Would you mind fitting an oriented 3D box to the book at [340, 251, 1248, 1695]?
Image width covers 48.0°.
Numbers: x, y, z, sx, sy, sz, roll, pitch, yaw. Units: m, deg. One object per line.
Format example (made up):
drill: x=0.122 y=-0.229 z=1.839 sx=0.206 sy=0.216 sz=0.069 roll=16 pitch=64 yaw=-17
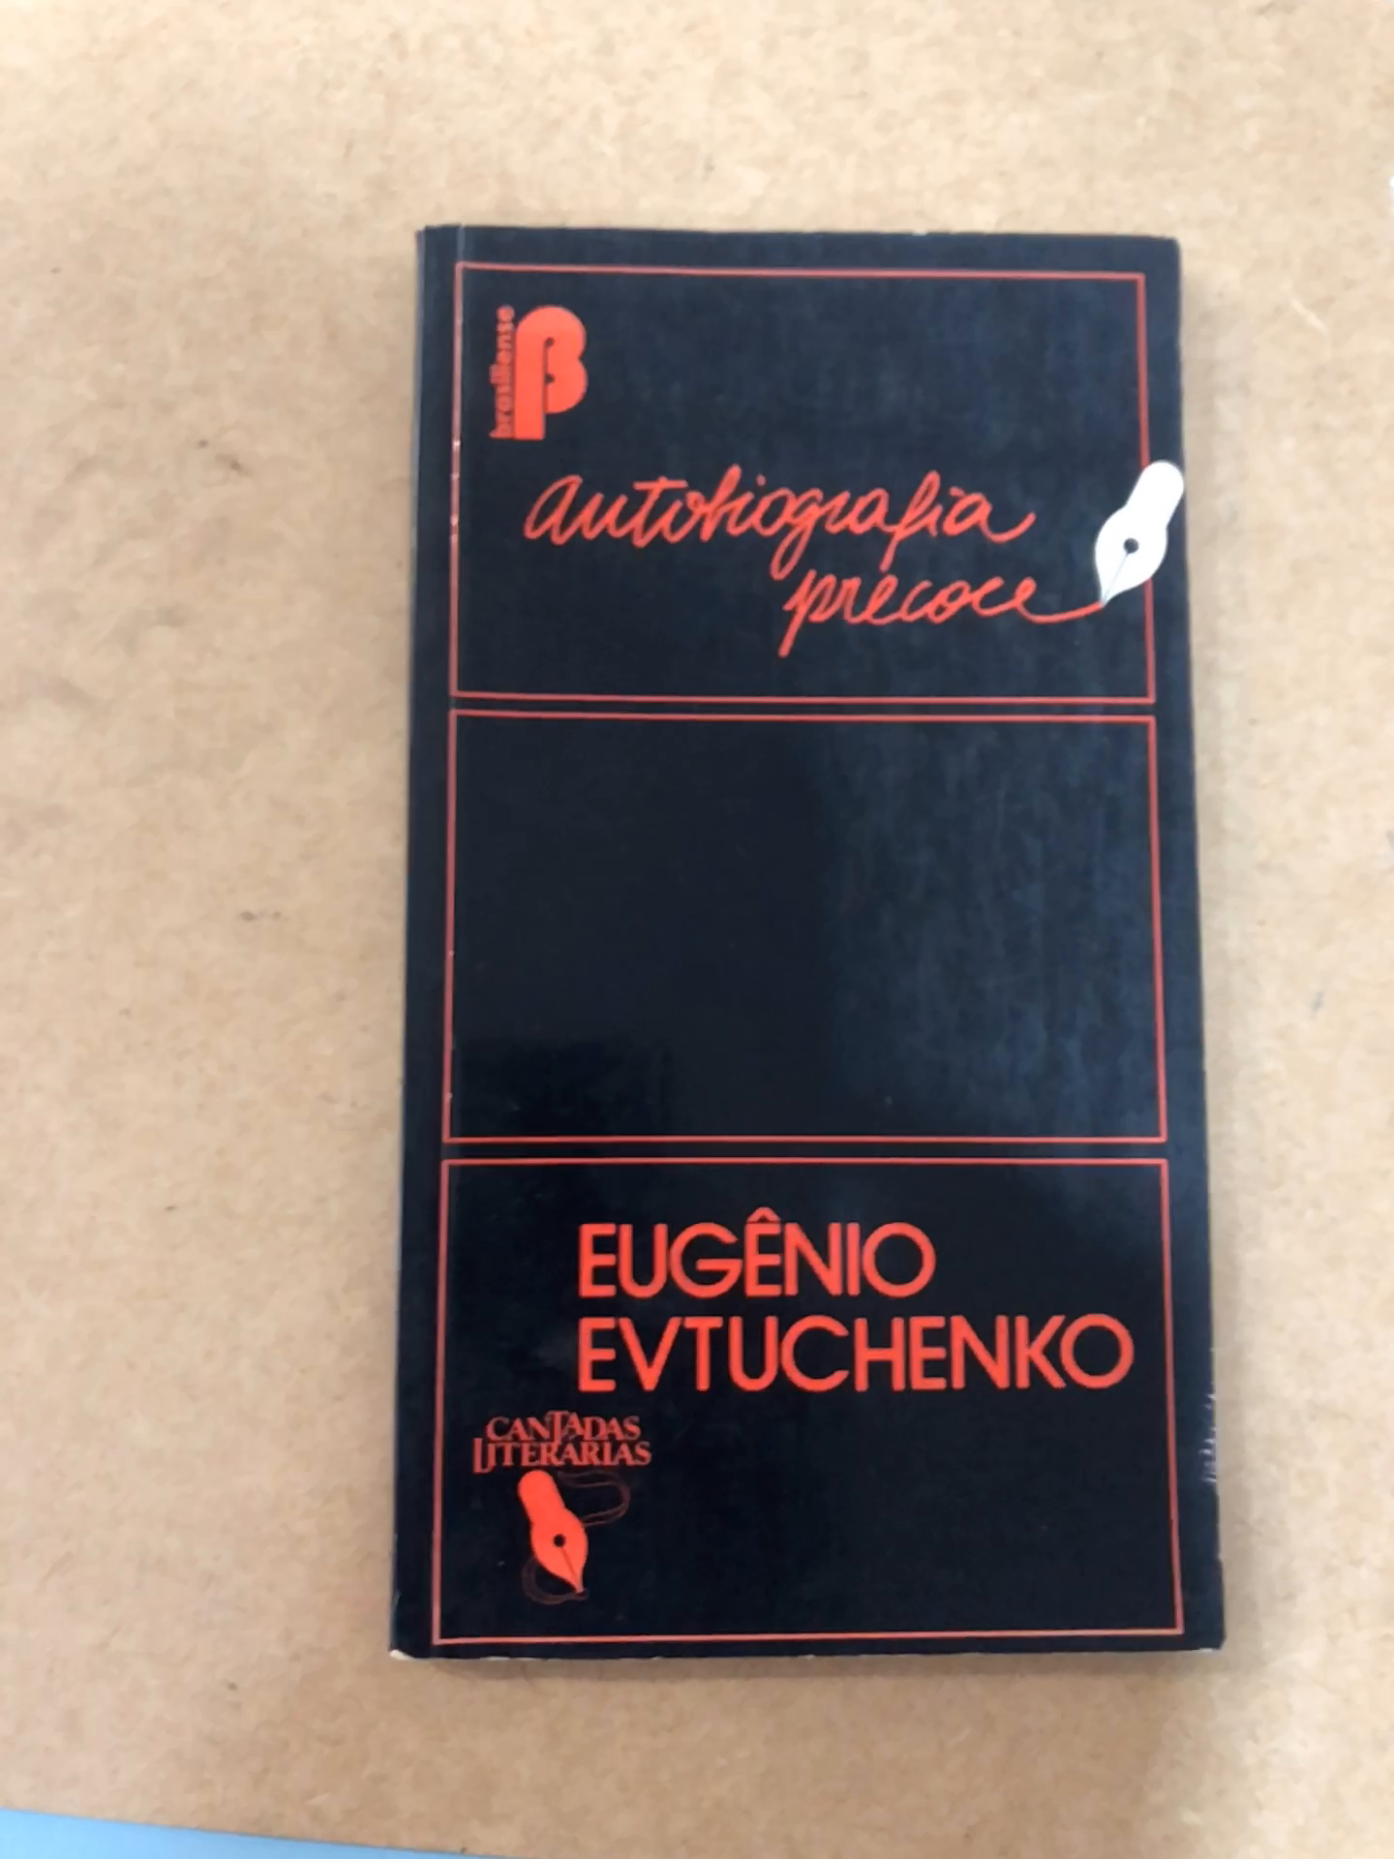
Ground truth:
book: x=0.012 y=0.002 z=0.214 sx=0.114 sy=0.016 sz=0.190 roll=0 pitch=84 yaw=-1
